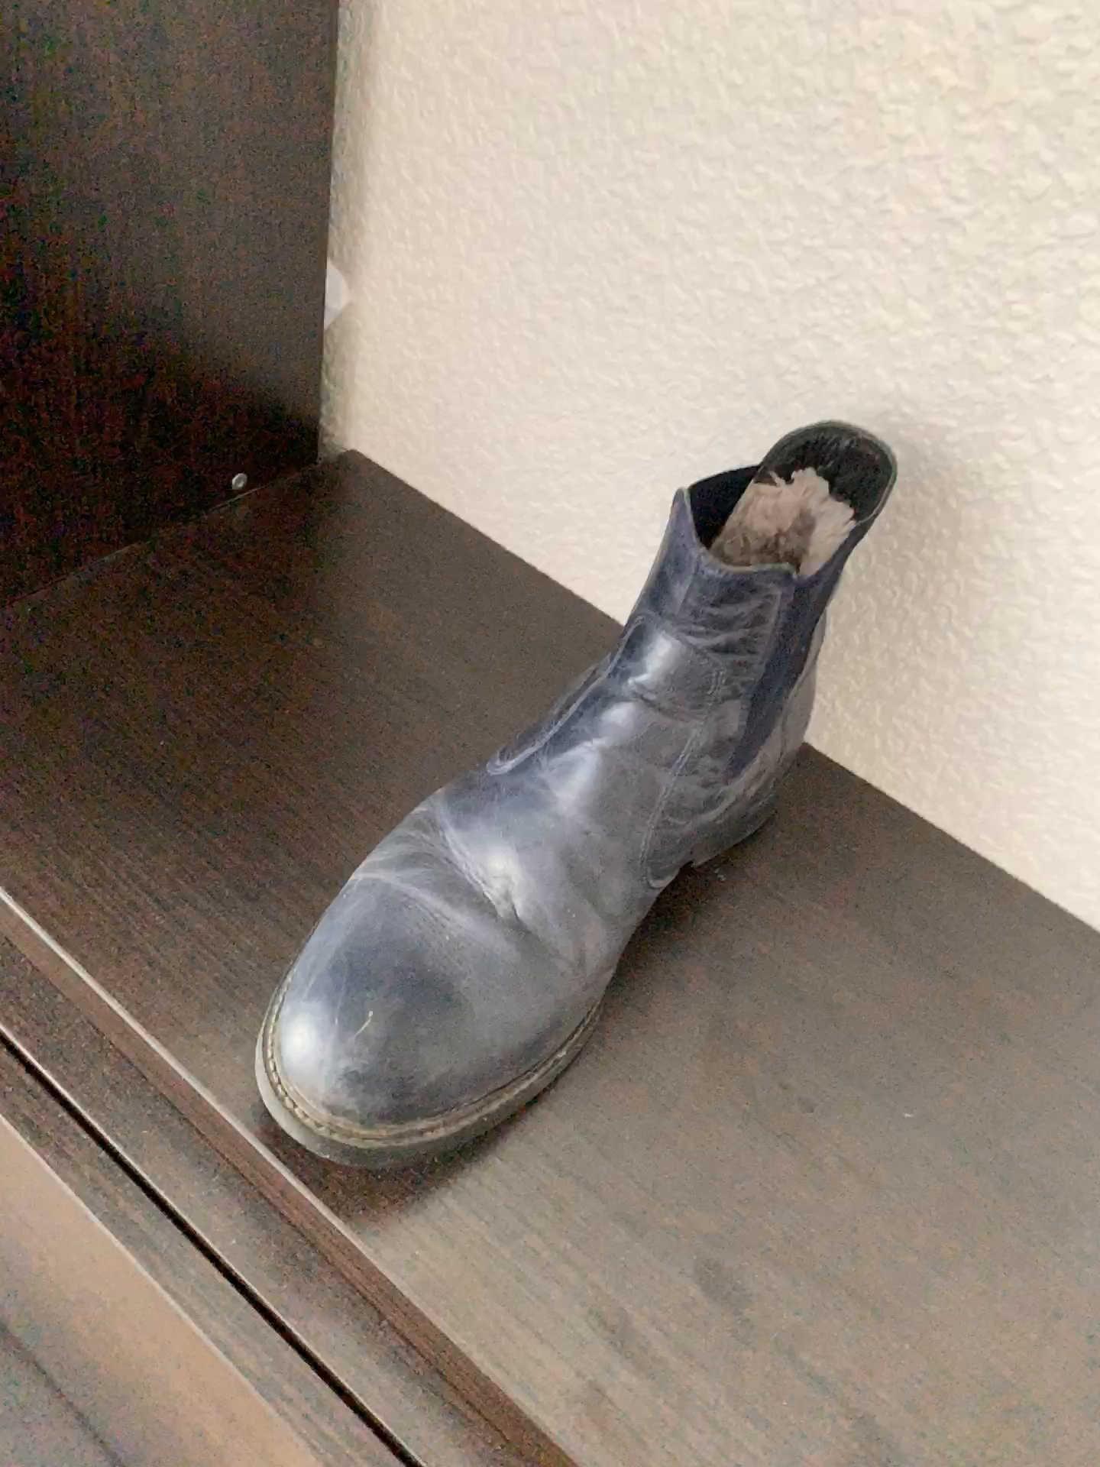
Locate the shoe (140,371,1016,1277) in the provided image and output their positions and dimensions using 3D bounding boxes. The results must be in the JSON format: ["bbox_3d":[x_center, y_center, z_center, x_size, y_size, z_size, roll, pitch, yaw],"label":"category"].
[{"bbox_3d":[0.023,0.010,0.403,0.110,0.159,0.301,36,49,20],"label":"shoe"}]
